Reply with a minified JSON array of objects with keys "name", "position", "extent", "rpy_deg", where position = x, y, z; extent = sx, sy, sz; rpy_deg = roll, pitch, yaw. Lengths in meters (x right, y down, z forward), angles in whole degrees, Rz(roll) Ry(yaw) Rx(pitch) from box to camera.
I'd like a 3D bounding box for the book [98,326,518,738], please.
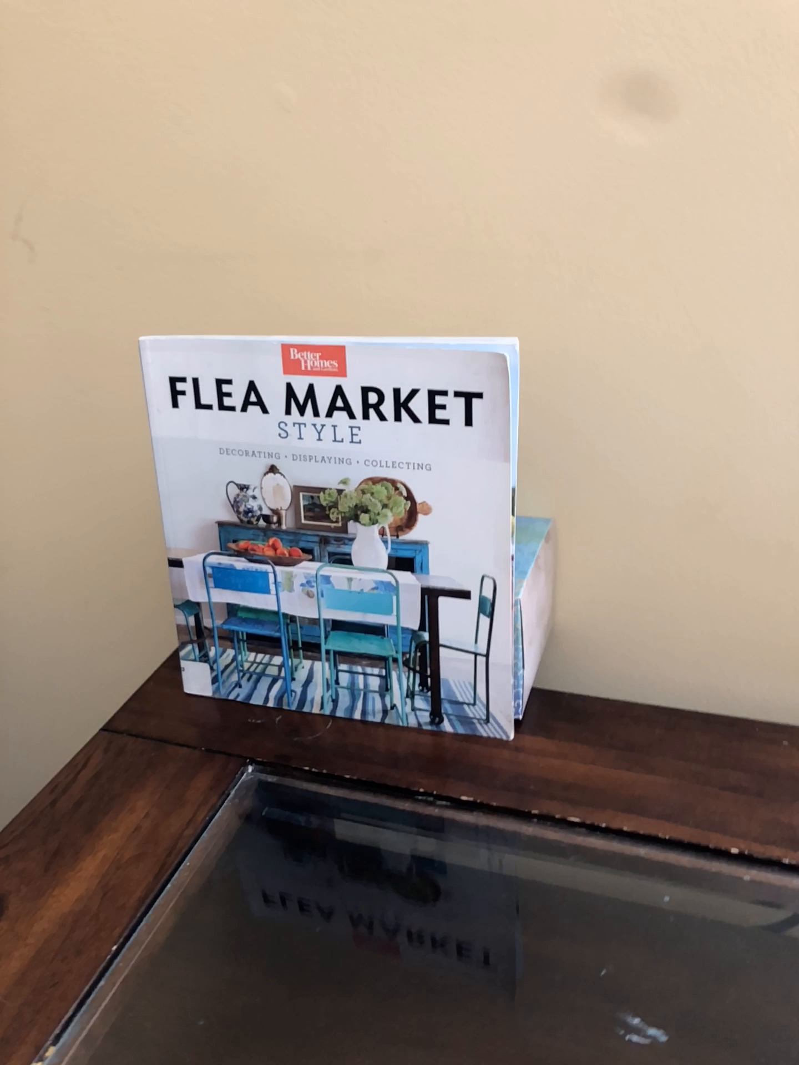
[{"name":"book","position":[-0.048,0.000,0.530],"extent":[0.233,0.239,0.032],"rpy_deg":[4,25,17]}]
